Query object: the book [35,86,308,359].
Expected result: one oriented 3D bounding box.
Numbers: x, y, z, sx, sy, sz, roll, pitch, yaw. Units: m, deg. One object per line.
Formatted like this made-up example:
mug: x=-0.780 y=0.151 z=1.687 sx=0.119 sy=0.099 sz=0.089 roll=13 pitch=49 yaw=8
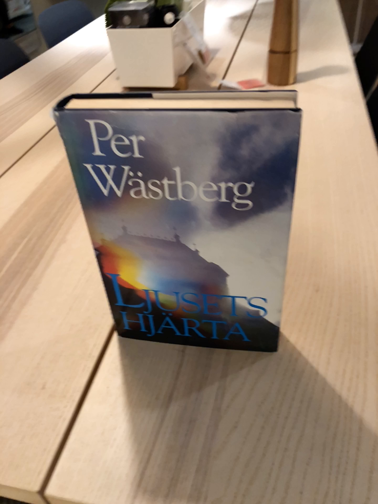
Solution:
book: x=-0.003 y=-0.010 z=0.334 sx=0.166 sy=0.221 sz=0.042 roll=4 pitch=40 yaw=11
